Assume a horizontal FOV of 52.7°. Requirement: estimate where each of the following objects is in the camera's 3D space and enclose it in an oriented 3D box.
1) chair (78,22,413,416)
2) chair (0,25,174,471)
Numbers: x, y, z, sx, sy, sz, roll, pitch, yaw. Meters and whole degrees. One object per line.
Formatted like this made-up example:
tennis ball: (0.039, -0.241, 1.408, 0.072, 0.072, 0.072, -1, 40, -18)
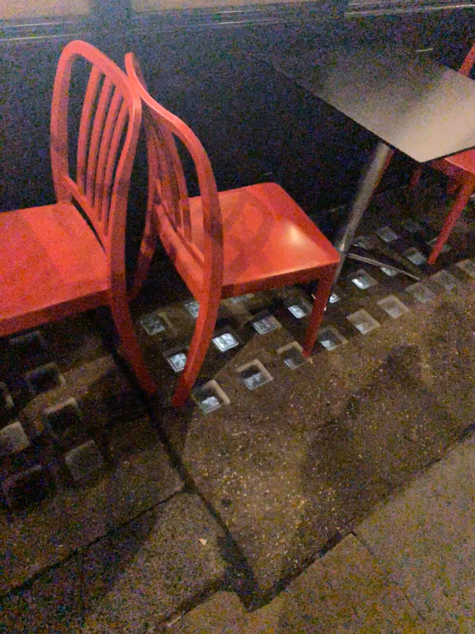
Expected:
chair: (-0.039, -0.280, 1.397, 0.562, 0.851, 0.574, -19, 50, -24)
chair: (-0.530, -0.163, 1.219, 0.542, 0.851, 0.544, -22, 51, -27)
